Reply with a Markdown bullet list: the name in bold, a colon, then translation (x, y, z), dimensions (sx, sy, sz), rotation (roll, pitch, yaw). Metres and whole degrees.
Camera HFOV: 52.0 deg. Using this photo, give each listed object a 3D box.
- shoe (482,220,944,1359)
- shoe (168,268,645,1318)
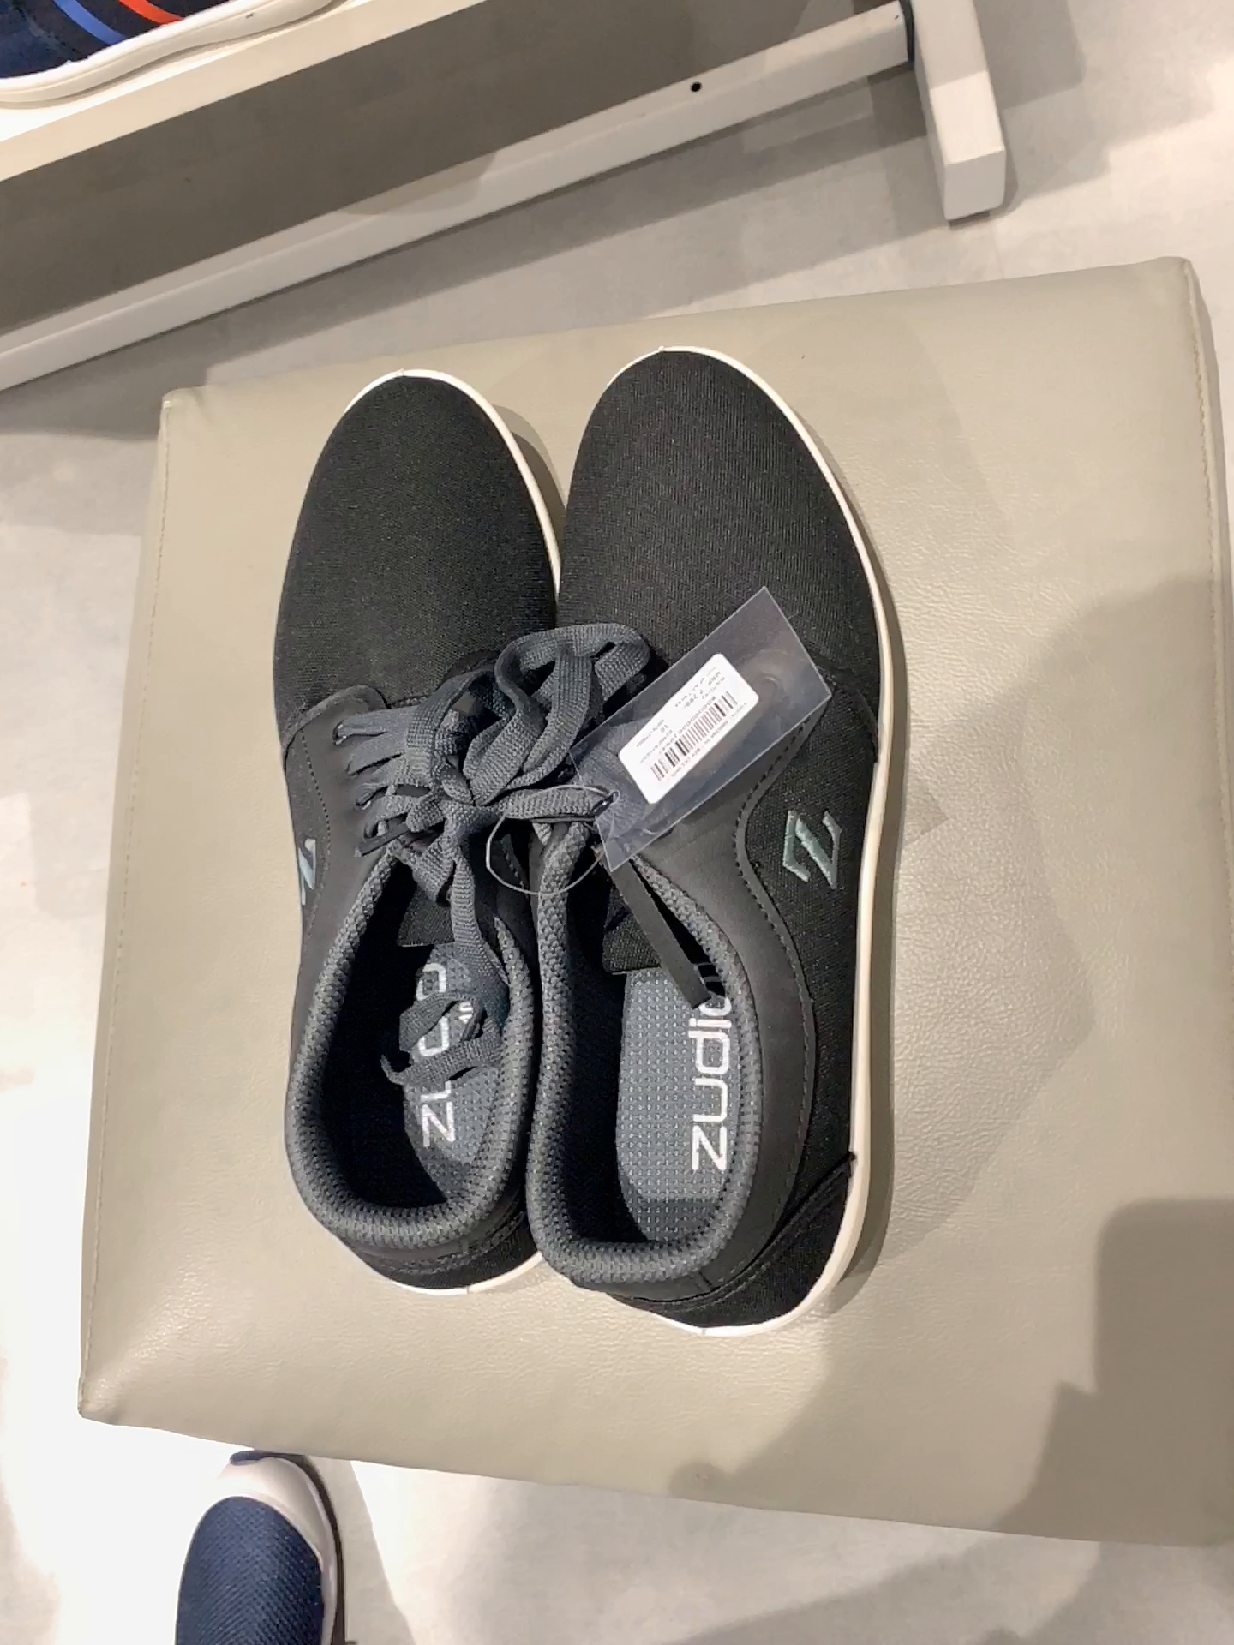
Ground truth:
- **shoe**: translation (0.029, -0.007, 0.368), dimensions (0.100, 0.100, 0.280), rotation (-5, 79, 20)
- **shoe**: translation (-0.059, -0.005, 0.378), dimensions (0.100, 0.100, 0.270), rotation (-6, 79, 13)
